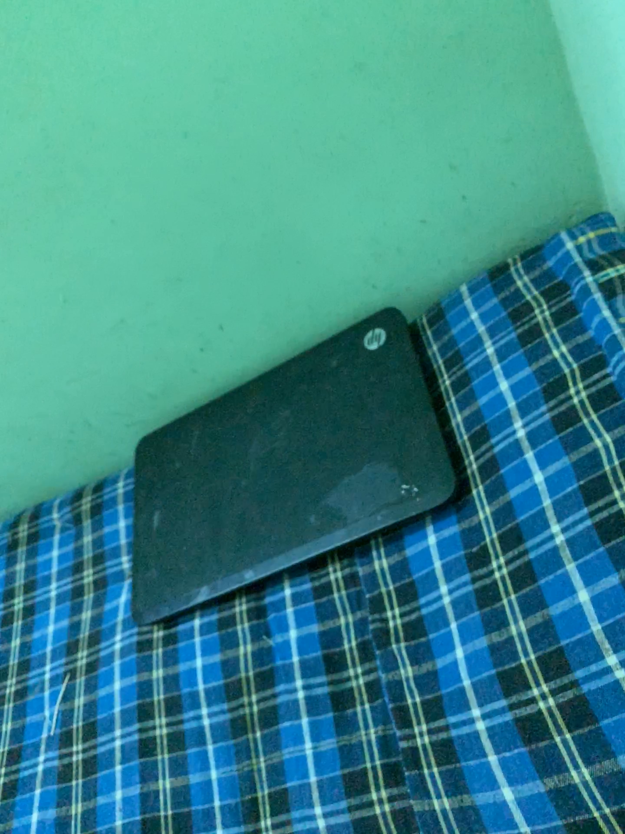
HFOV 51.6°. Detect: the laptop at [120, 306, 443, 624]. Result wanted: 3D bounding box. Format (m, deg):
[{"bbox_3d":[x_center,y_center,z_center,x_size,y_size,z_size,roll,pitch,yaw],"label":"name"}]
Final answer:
[{"bbox_3d":[-0.057,0.049,0.659,0.347,0.018,0.217,-26,50,20],"label":"laptop"}]
